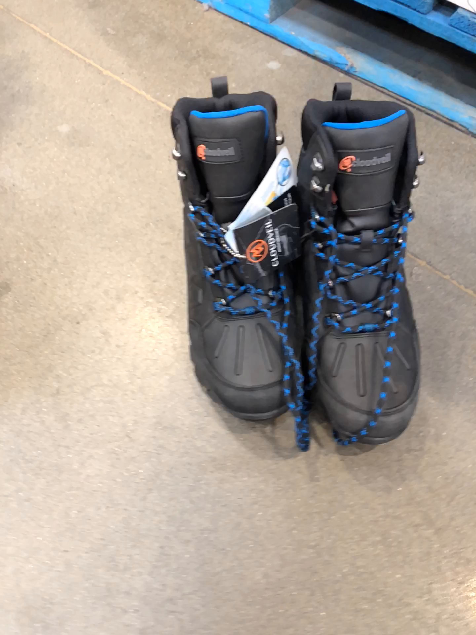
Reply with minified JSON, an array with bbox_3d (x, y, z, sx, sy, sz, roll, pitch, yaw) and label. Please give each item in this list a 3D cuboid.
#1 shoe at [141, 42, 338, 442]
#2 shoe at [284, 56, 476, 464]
[{"bbox_3d":[-0.006,-0.065,0.504,0.120,0.210,0.300,-7,61,0],"label":"shoe"},{"bbox_3d":[0.112,-0.044,0.483,0.120,0.210,0.300,-2,61,3],"label":"shoe"}]
